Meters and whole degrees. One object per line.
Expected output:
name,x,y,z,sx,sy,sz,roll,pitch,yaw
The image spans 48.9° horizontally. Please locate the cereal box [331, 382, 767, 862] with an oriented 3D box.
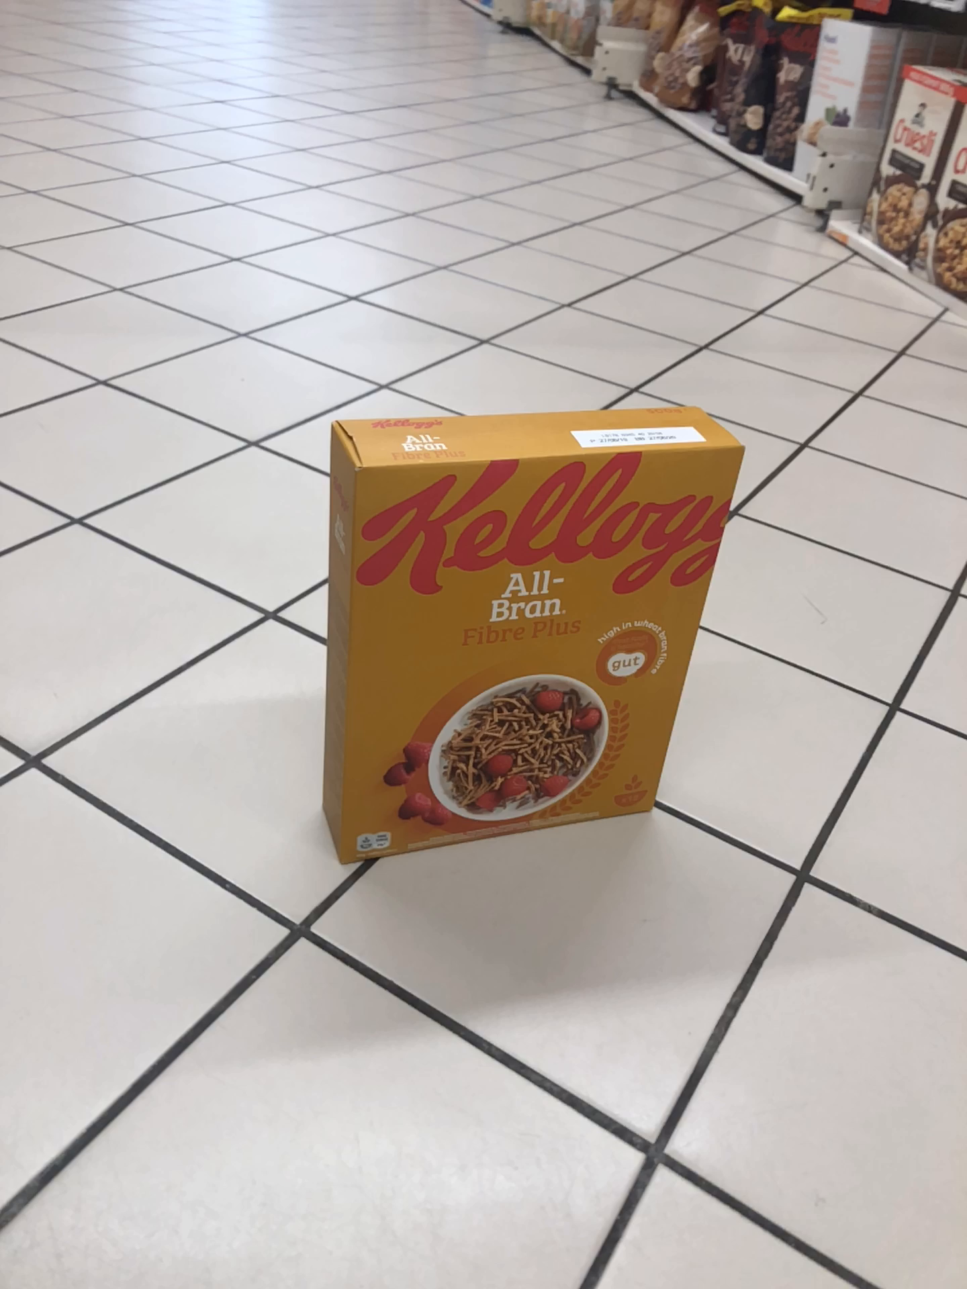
cereal box,0.021,-0.008,0.554,0.190,0.239,0.060,-6,37,-18
